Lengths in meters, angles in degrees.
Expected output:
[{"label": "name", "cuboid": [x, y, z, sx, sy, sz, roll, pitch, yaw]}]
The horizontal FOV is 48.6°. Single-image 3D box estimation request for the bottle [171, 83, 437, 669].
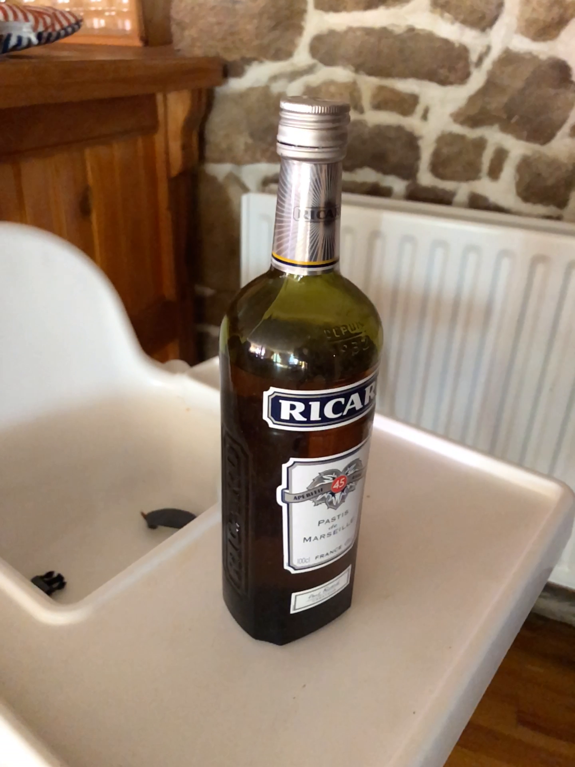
[{"label": "bottle", "cuboid": [0.003, 0.006, 0.343, 0.090, 0.298, 0.070, -17, 33, -31]}]
